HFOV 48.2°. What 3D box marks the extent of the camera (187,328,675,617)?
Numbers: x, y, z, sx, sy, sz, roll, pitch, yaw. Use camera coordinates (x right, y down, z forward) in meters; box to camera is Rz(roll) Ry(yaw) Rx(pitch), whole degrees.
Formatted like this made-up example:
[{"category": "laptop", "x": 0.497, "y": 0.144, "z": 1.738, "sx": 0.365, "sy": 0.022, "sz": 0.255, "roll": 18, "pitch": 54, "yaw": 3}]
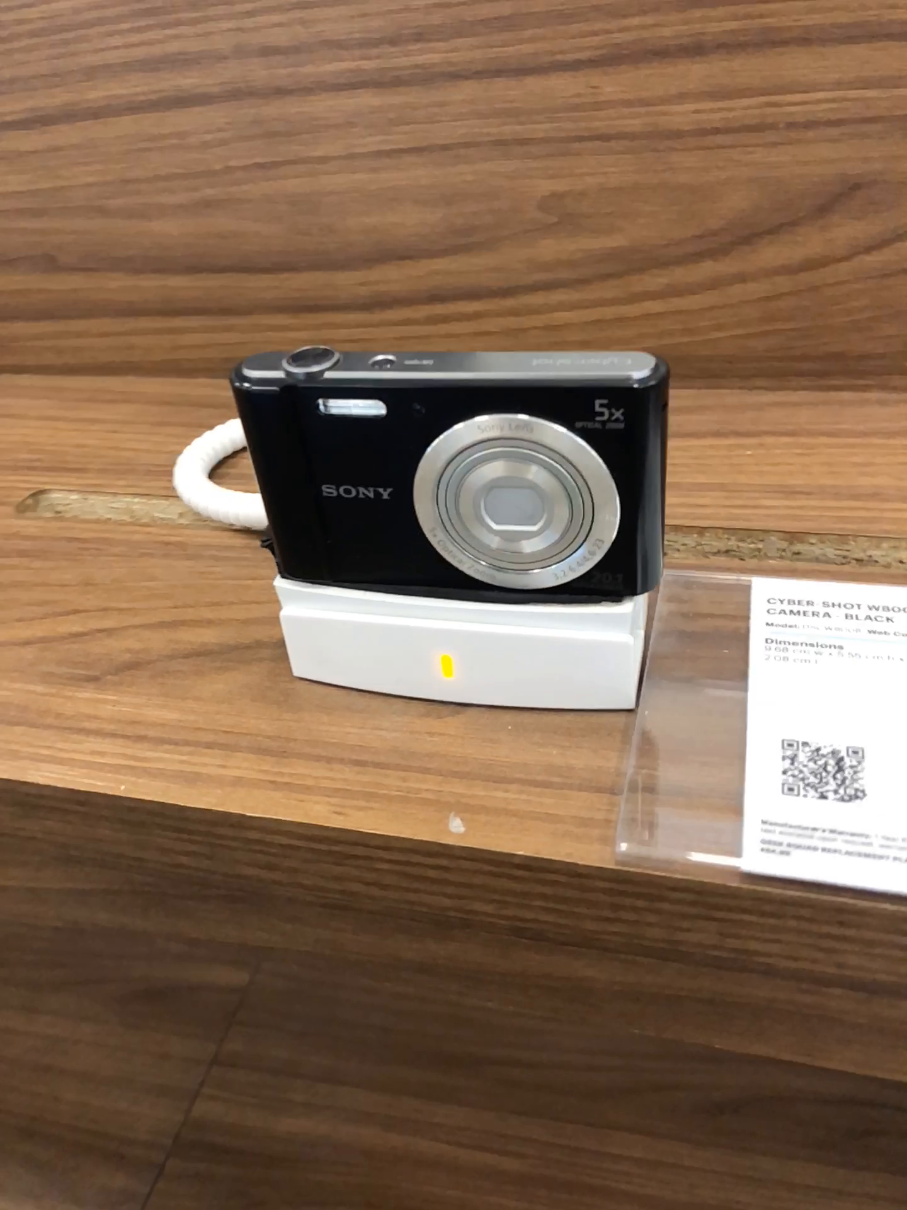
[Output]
[{"category": "camera", "x": -0.002, "y": -0.030, "z": 0.229, "sx": 0.100, "sy": 0.060, "sz": 0.020, "roll": 5, "pitch": 43, "yaw": 16}]
